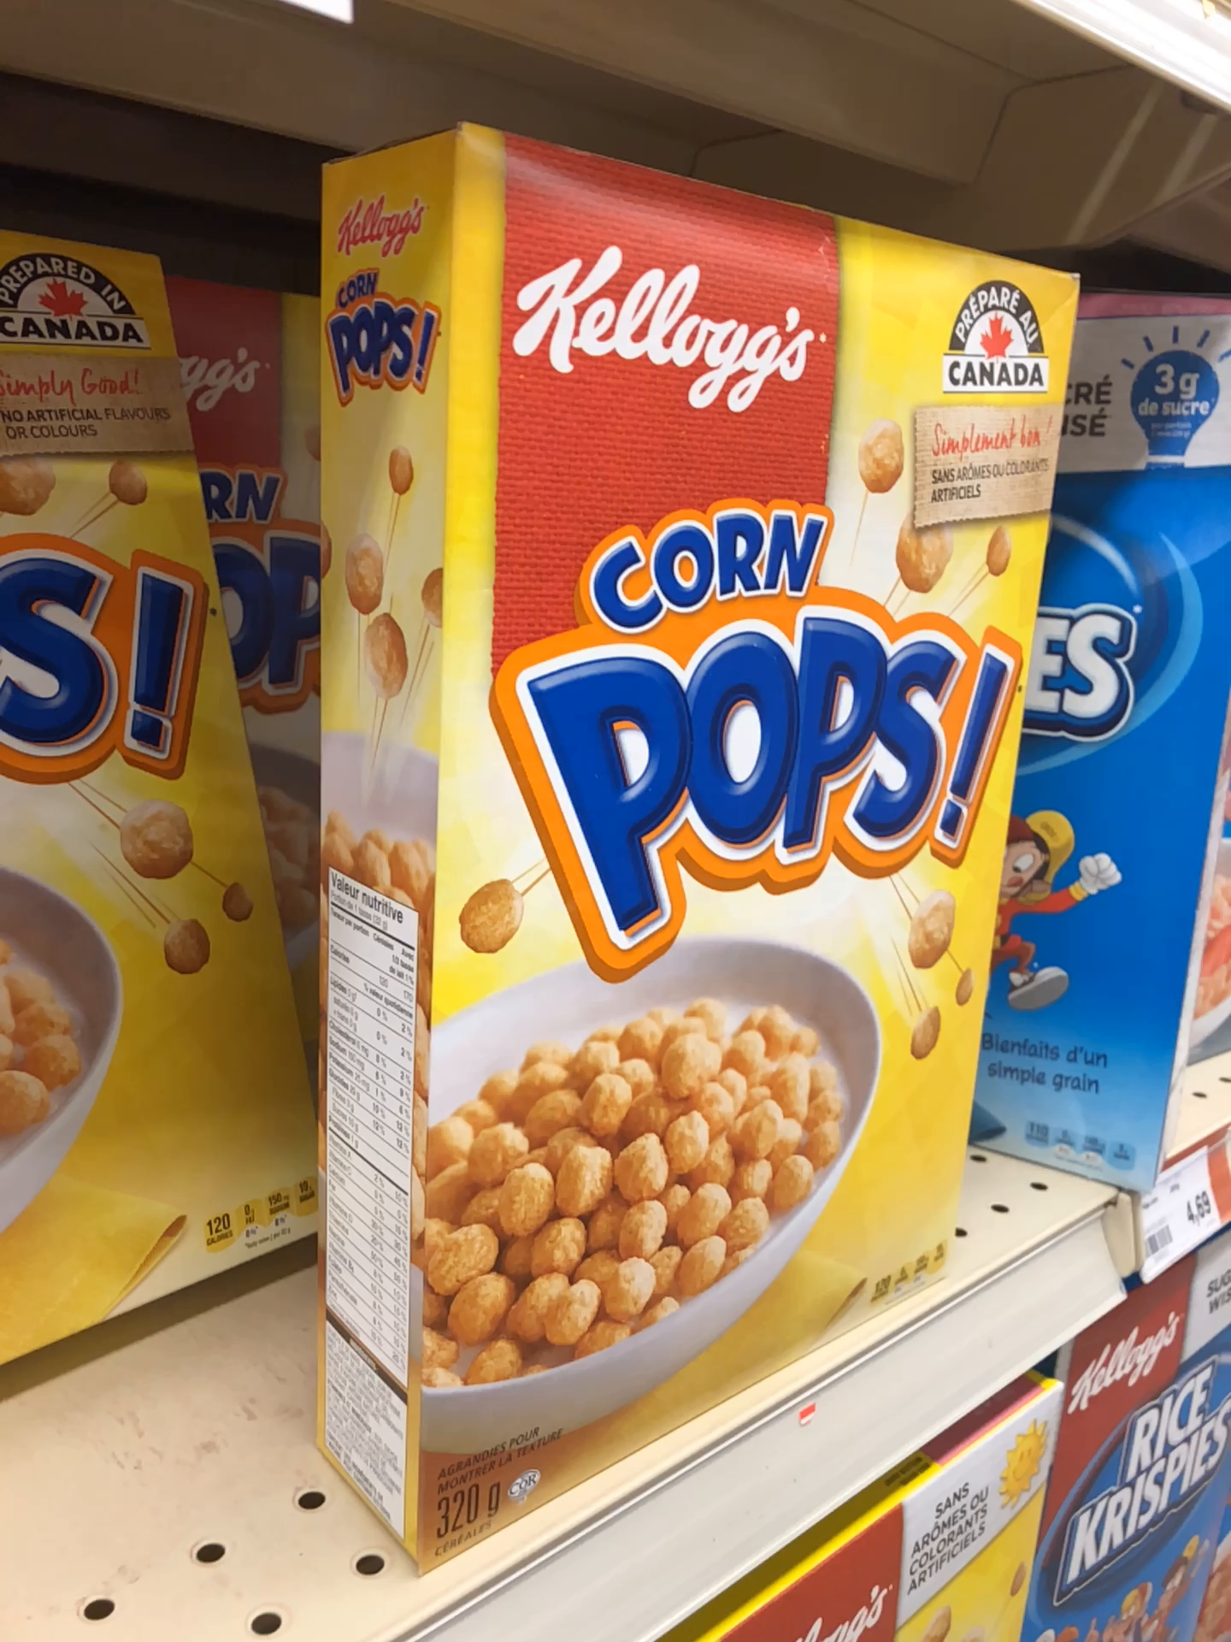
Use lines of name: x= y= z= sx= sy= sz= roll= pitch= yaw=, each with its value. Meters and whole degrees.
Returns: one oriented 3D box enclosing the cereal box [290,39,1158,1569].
cereal box: x=0.031 y=-0.003 z=0.340 sx=0.210 sy=0.289 sz=0.060 roll=-8 pitch=19 yaw=-40
